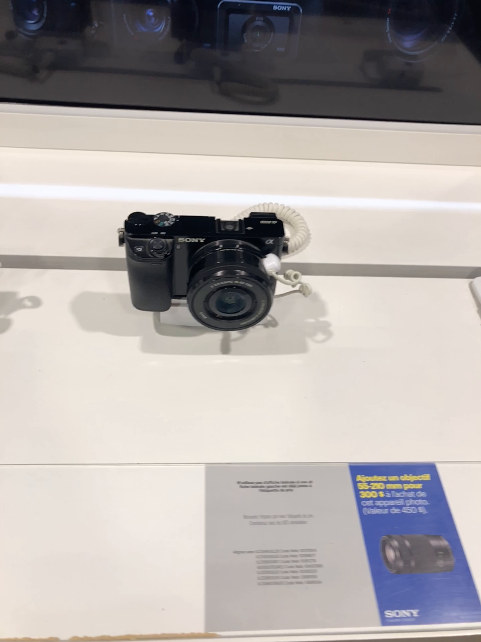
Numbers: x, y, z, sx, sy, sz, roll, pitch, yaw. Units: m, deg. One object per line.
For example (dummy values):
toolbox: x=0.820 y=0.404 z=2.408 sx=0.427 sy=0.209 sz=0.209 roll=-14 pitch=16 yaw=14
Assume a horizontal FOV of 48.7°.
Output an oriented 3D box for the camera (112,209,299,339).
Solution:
camera: x=-0.028 y=-0.037 z=0.422 sx=0.130 sy=0.077 sz=0.065 roll=-1 pitch=46 yaw=-5
